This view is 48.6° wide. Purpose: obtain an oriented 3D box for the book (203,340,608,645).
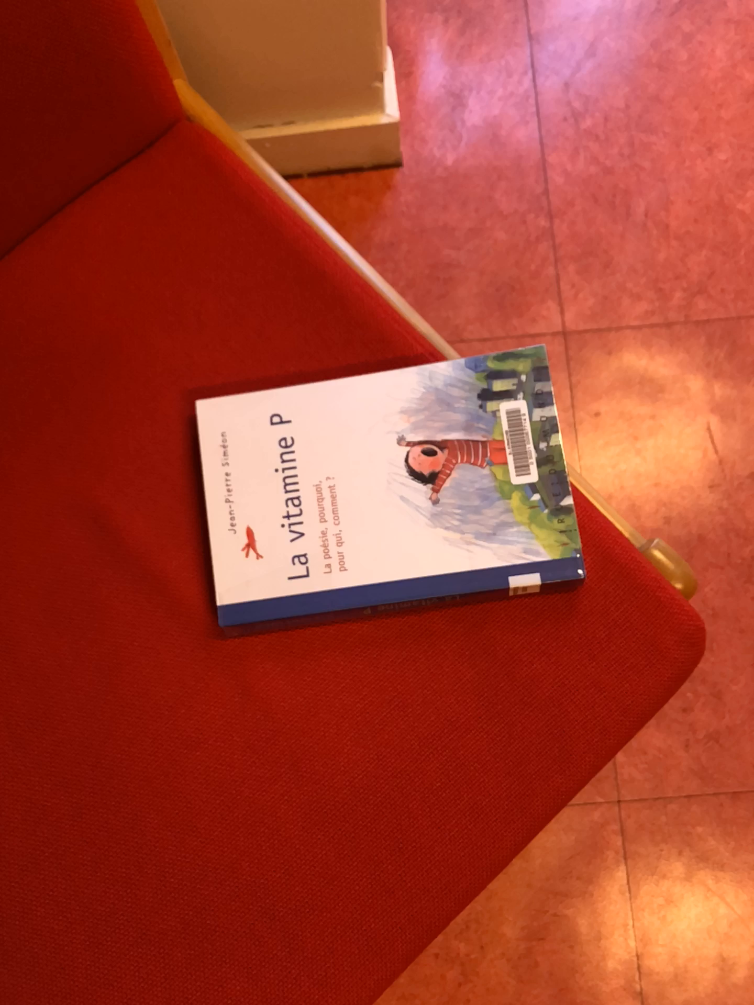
[{"bbox_3d":[0.015,-0.006,0.501,0.215,0.027,0.147,-9,82,0],"label":"book"}]
